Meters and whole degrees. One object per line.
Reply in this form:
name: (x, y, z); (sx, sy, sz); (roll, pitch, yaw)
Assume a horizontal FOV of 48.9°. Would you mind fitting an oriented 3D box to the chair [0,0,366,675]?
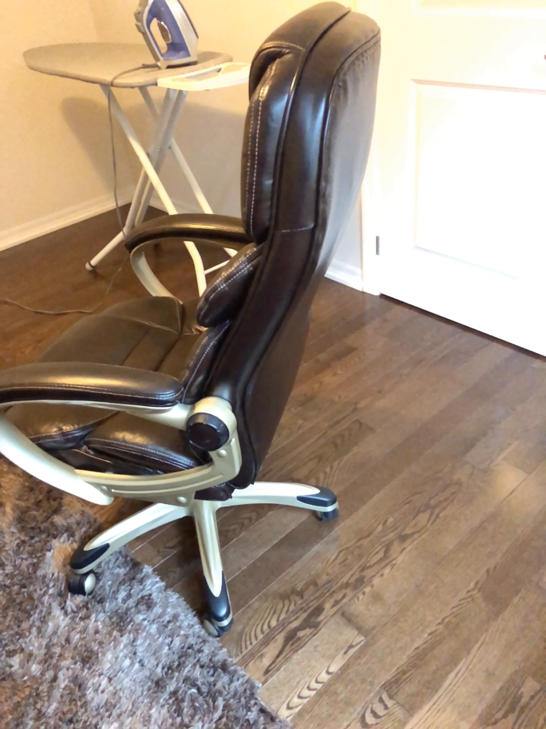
chair: (-0.257, -0.088, 1.274); (0.741, 1.135, 0.732); (6, 38, 19)
